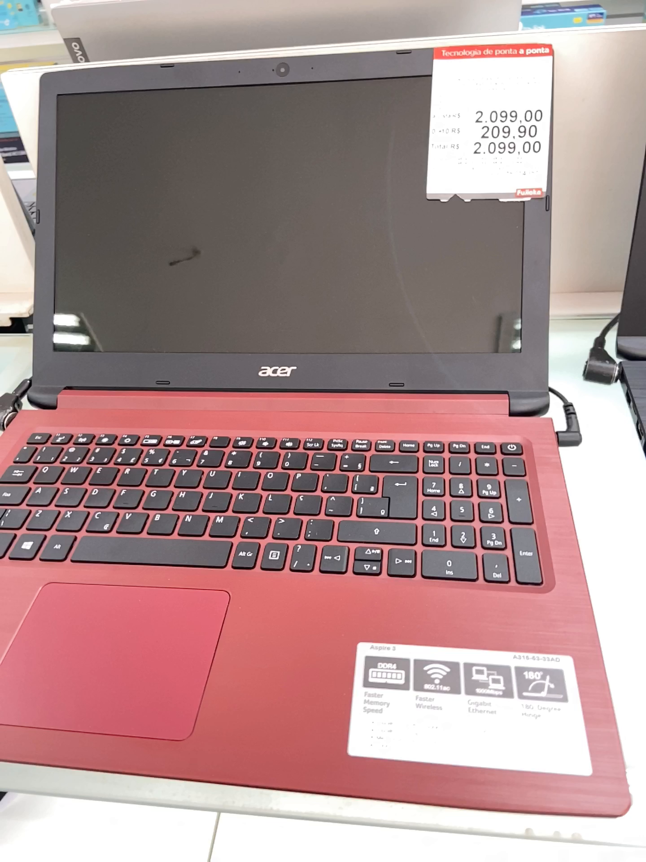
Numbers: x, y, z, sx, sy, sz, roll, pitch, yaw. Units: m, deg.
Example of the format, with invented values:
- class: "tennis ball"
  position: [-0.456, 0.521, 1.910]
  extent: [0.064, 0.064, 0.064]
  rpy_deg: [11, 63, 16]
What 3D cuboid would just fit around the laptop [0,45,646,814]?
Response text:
- class: "laptop"
  position: [-0.051, -0.063, 0.398]
  extent: [0.391, 0.193, 0.432]
  rpy_deg: [1, 40, 9]
